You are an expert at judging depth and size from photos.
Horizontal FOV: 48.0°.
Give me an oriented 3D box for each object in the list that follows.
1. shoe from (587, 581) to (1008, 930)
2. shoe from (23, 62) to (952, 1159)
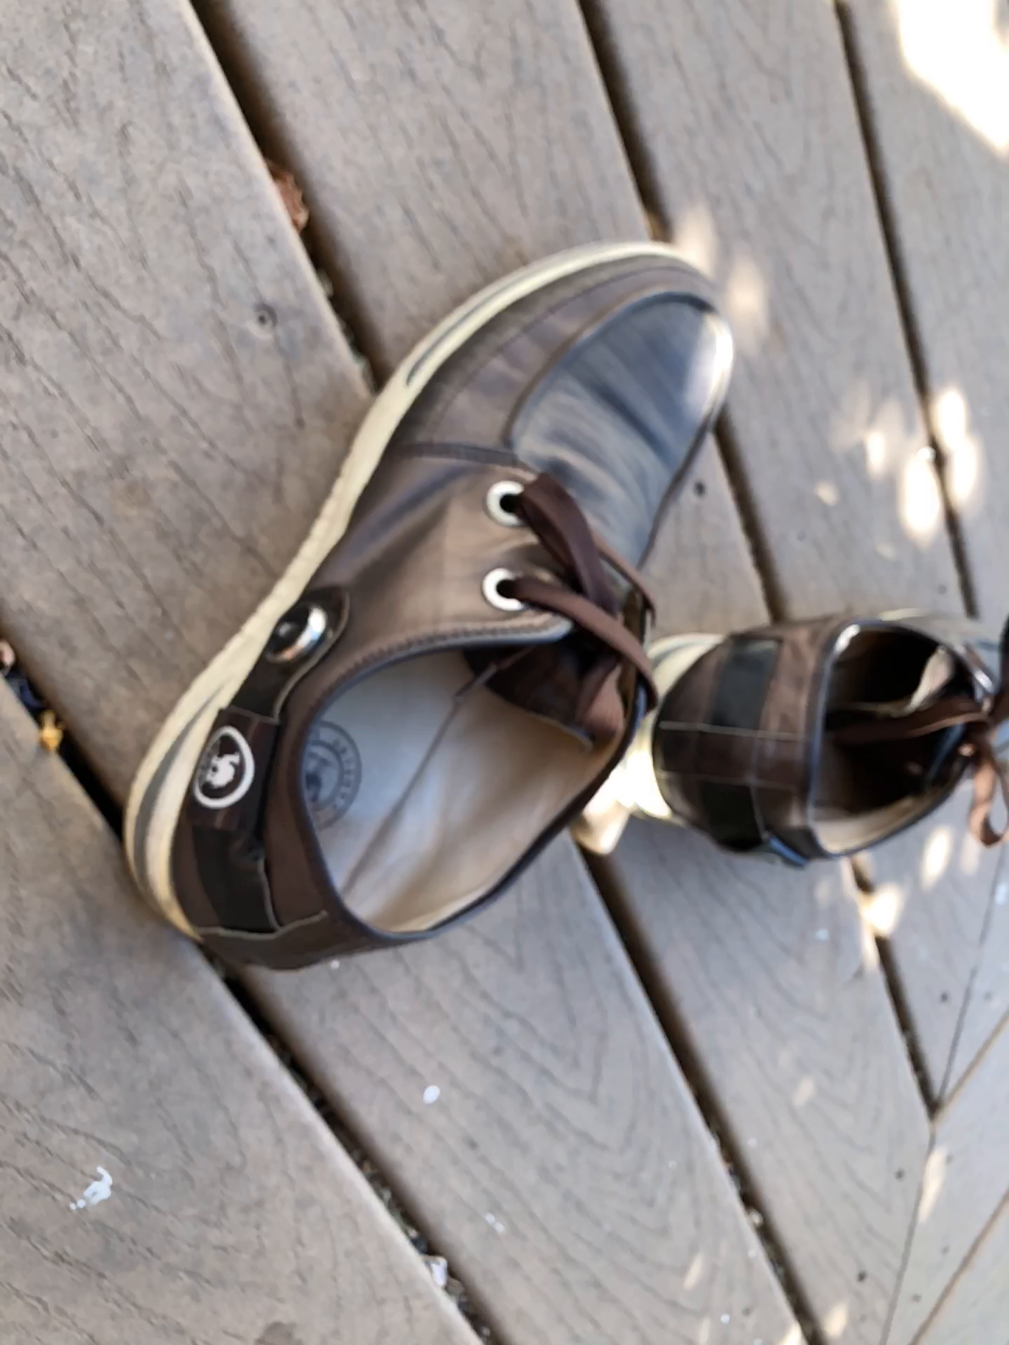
[{"bbox_3d":[0.195,0.028,0.526,0.305,0.116,0.110,1,98,-40],"label":"shoe"},{"bbox_3d":[0.006,-0.030,0.360,0.111,0.116,0.302,44,71,-36],"label":"shoe"}]
